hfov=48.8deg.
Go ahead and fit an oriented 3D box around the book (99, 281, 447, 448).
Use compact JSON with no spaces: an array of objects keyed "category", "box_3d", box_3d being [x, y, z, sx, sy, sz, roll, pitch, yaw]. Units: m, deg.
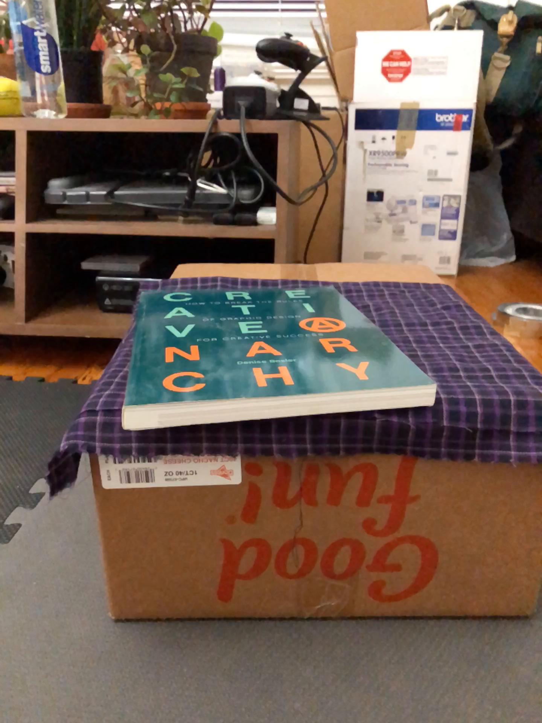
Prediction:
[{"category":"book","box_3d":[-0.019,-0.019,0.513,0.220,0.020,0.301,-3,22,-9]}]
